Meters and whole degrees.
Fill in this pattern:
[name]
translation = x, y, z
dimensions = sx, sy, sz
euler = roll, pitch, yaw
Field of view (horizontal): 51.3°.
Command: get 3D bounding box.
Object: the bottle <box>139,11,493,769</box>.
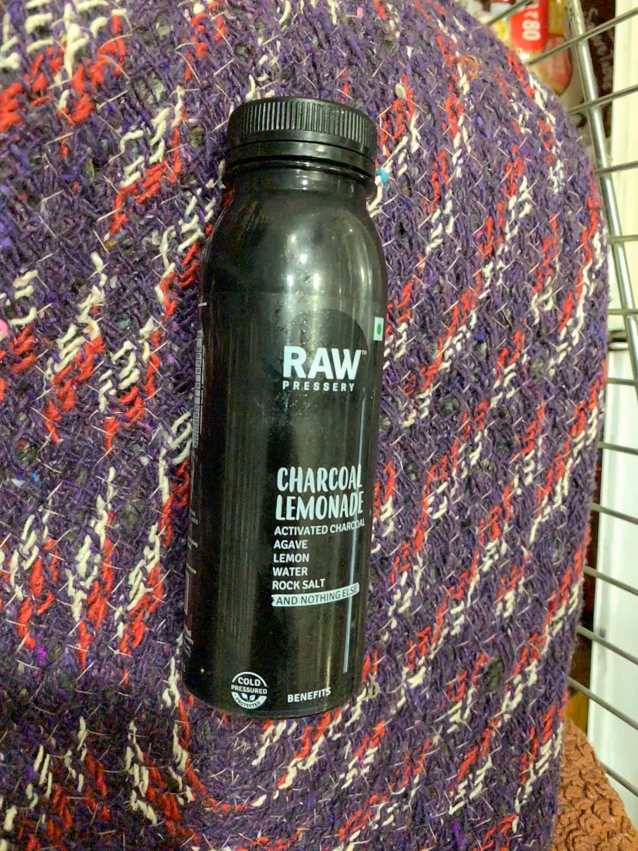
[bottle]
translation = -0.006, -0.004, 0.175
dimensions = 0.060, 0.050, 0.160
euler = 2, 99, -30
